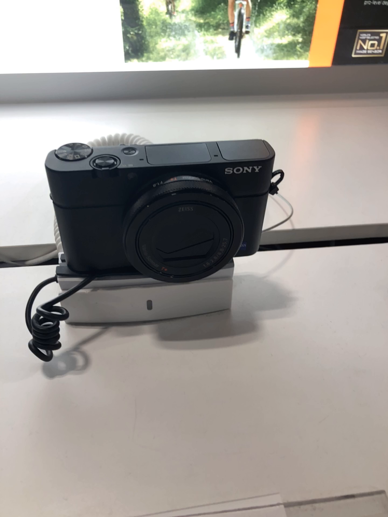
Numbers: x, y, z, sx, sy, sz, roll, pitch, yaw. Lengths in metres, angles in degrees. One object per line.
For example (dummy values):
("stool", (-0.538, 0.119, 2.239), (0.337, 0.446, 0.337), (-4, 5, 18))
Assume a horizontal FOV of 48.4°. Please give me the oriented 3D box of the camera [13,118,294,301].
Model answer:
("camera", (-0.017, -0.023, 0.206), (0.110, 0.070, 0.040), (-5, 40, -7))
